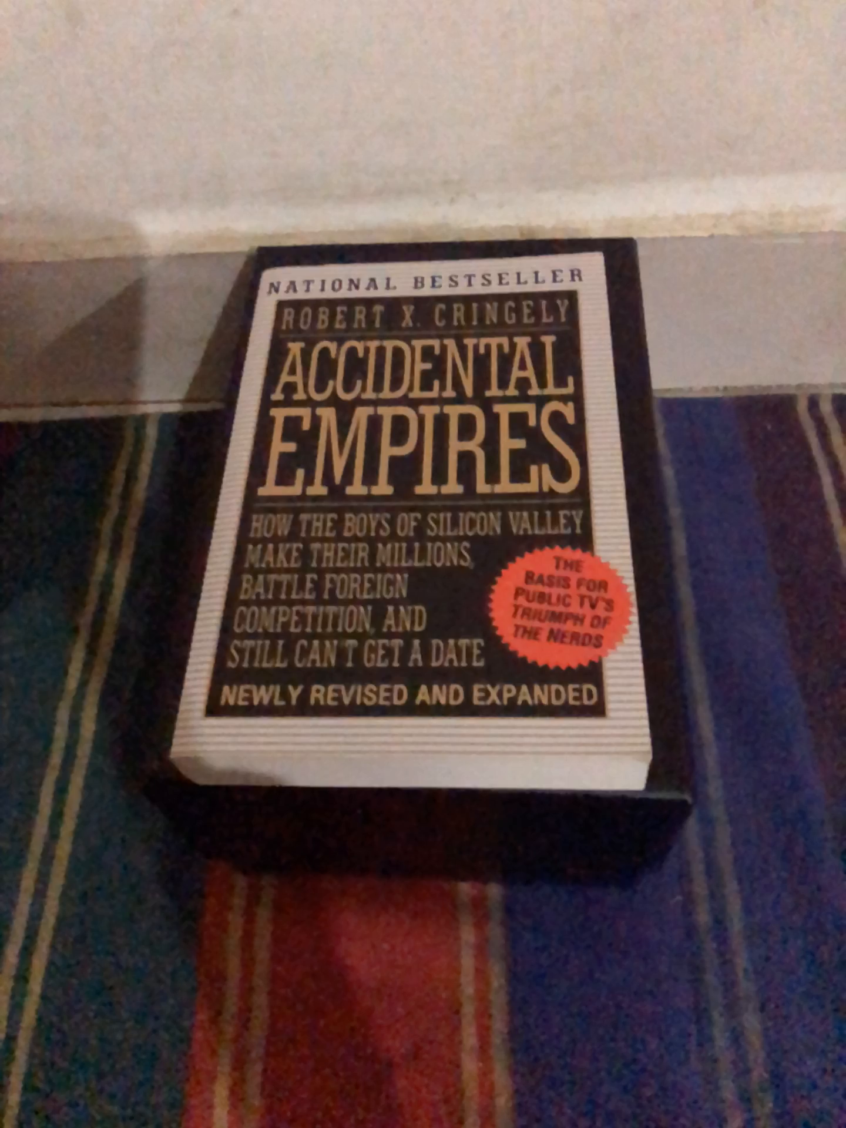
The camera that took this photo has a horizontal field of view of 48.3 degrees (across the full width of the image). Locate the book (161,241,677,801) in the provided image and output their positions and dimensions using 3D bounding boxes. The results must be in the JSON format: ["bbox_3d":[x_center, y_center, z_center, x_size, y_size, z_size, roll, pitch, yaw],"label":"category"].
[{"bbox_3d":[0.002,-0.024,0.305,0.130,0.040,0.191,0,57,4],"label":"book"}]
